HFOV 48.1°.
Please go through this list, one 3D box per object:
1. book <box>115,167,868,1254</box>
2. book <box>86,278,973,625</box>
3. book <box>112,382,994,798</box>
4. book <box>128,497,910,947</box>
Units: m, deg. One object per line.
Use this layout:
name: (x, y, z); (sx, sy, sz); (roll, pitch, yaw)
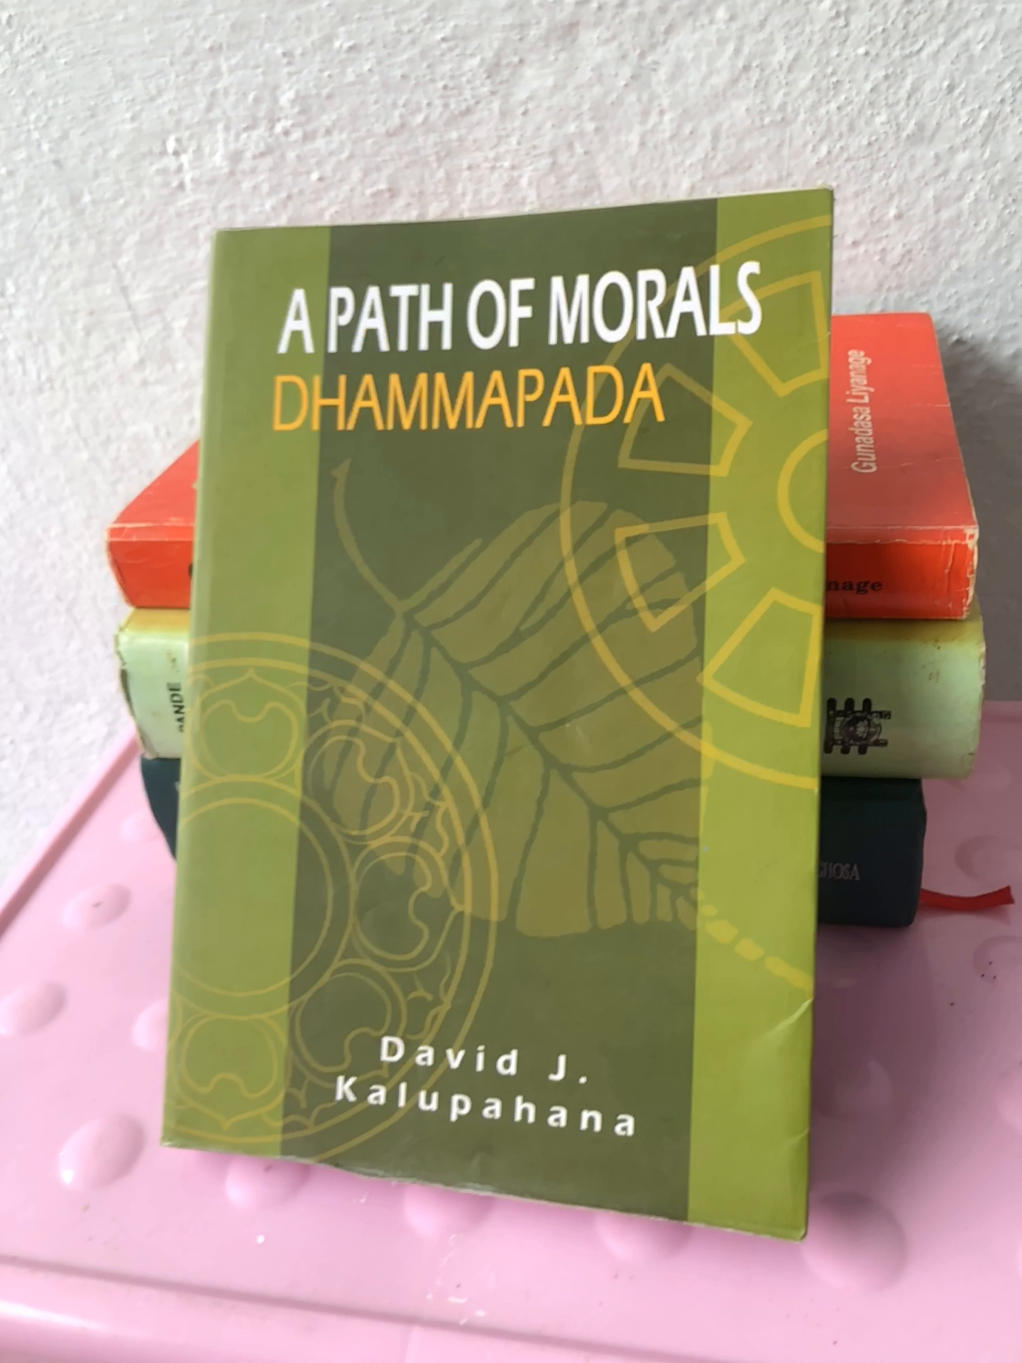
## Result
book: (-0.003, 0.001, 0.258); (0.150, 0.210, 0.040); (2, -4, 14)
book: (0.013, -0.072, 0.335); (0.210, 0.030, 0.161); (0, 34, 15)
book: (0.020, -0.037, 0.341); (0.210, 0.040, 0.161); (1, 34, 15)
book: (0.015, 0.000, 0.372); (0.210, 0.050, 0.161); (1, 34, 16)
